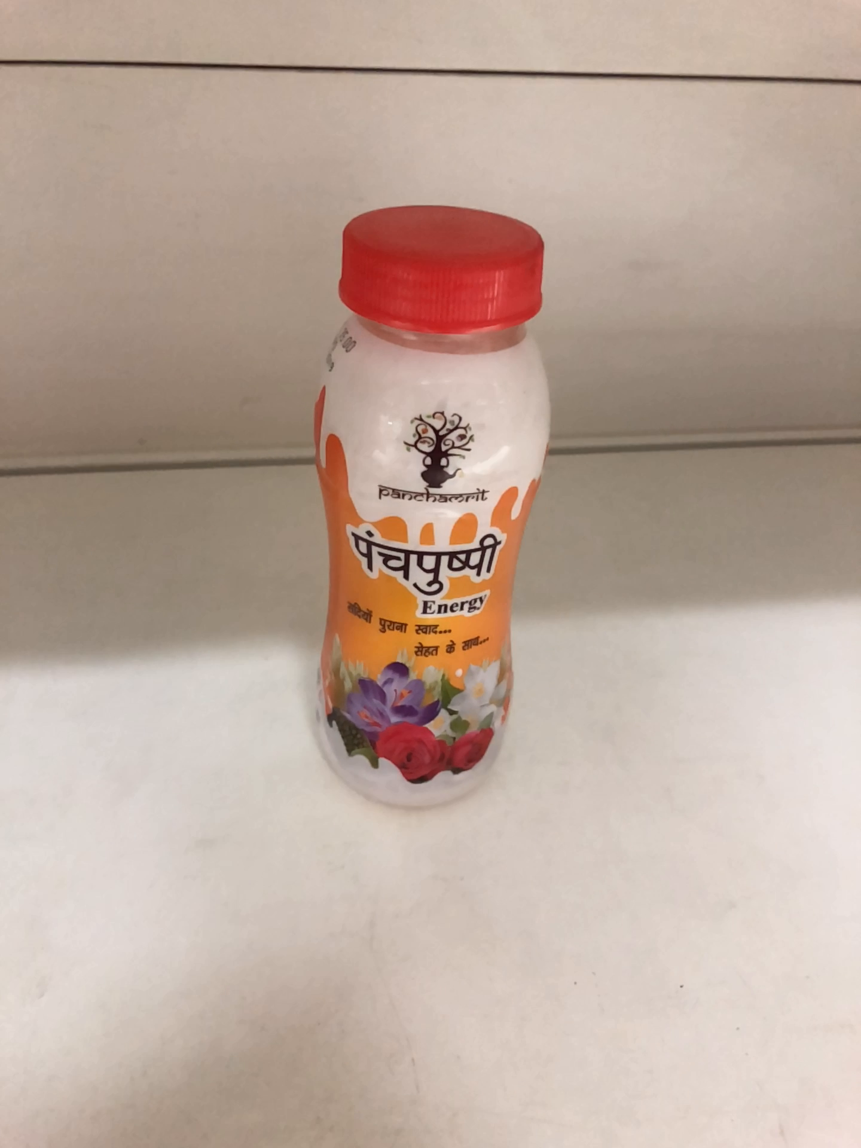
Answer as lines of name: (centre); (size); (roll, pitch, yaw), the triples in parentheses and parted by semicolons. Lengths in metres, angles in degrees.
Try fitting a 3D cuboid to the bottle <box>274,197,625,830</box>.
bottle: (-0.002, -0.012, 0.222); (0.060, 0.129, 0.060); (1, 32, -1)
